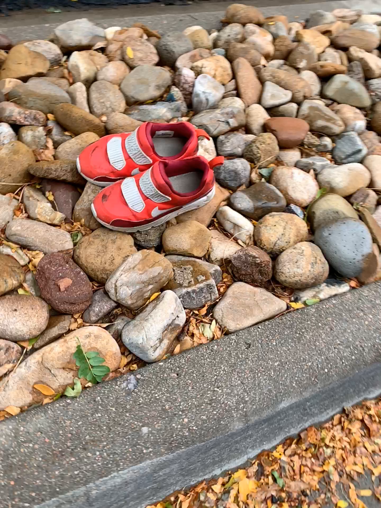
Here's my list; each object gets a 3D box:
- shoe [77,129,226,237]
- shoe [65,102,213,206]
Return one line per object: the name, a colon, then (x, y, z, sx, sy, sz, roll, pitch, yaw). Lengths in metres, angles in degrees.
shoe: (-0.056, -0.109, 0.626, 0.210, 0.100, 0.080, -16, 73, 2)
shoe: (-0.078, -0.160, 0.632, 0.210, 0.100, 0.080, -14, 73, -5)
